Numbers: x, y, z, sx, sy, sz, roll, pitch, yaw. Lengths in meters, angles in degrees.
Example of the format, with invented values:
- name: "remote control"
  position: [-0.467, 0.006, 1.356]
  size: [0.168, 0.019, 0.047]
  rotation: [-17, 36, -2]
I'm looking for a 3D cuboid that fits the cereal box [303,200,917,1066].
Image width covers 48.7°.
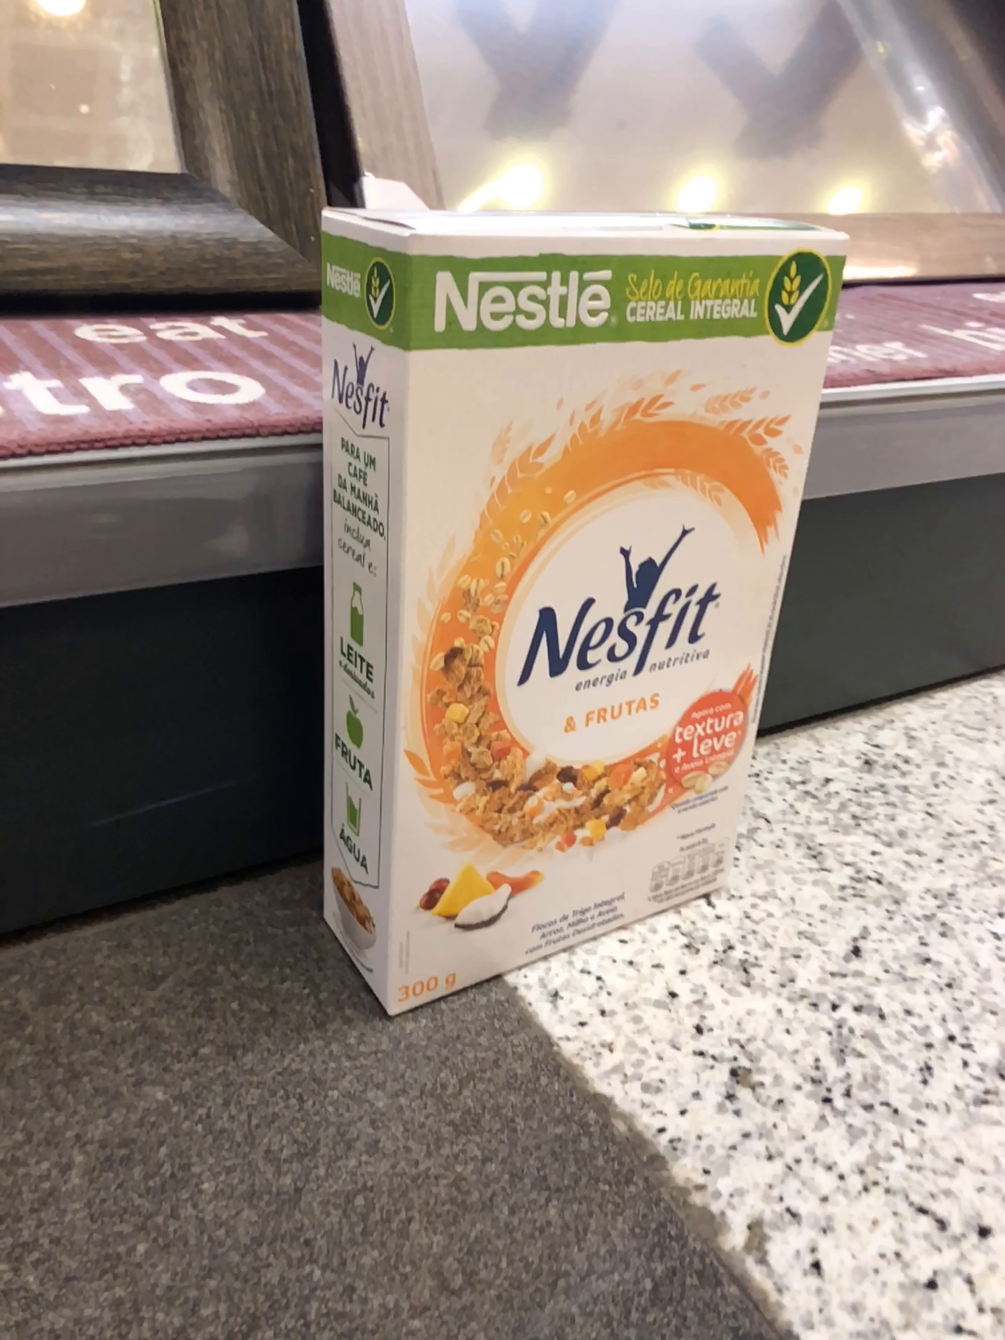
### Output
- name: "cereal box"
  position: [0.027, -0.015, 0.363]
  size: [0.170, 0.248, 0.060]
  rotation: [-14, 32, -32]
